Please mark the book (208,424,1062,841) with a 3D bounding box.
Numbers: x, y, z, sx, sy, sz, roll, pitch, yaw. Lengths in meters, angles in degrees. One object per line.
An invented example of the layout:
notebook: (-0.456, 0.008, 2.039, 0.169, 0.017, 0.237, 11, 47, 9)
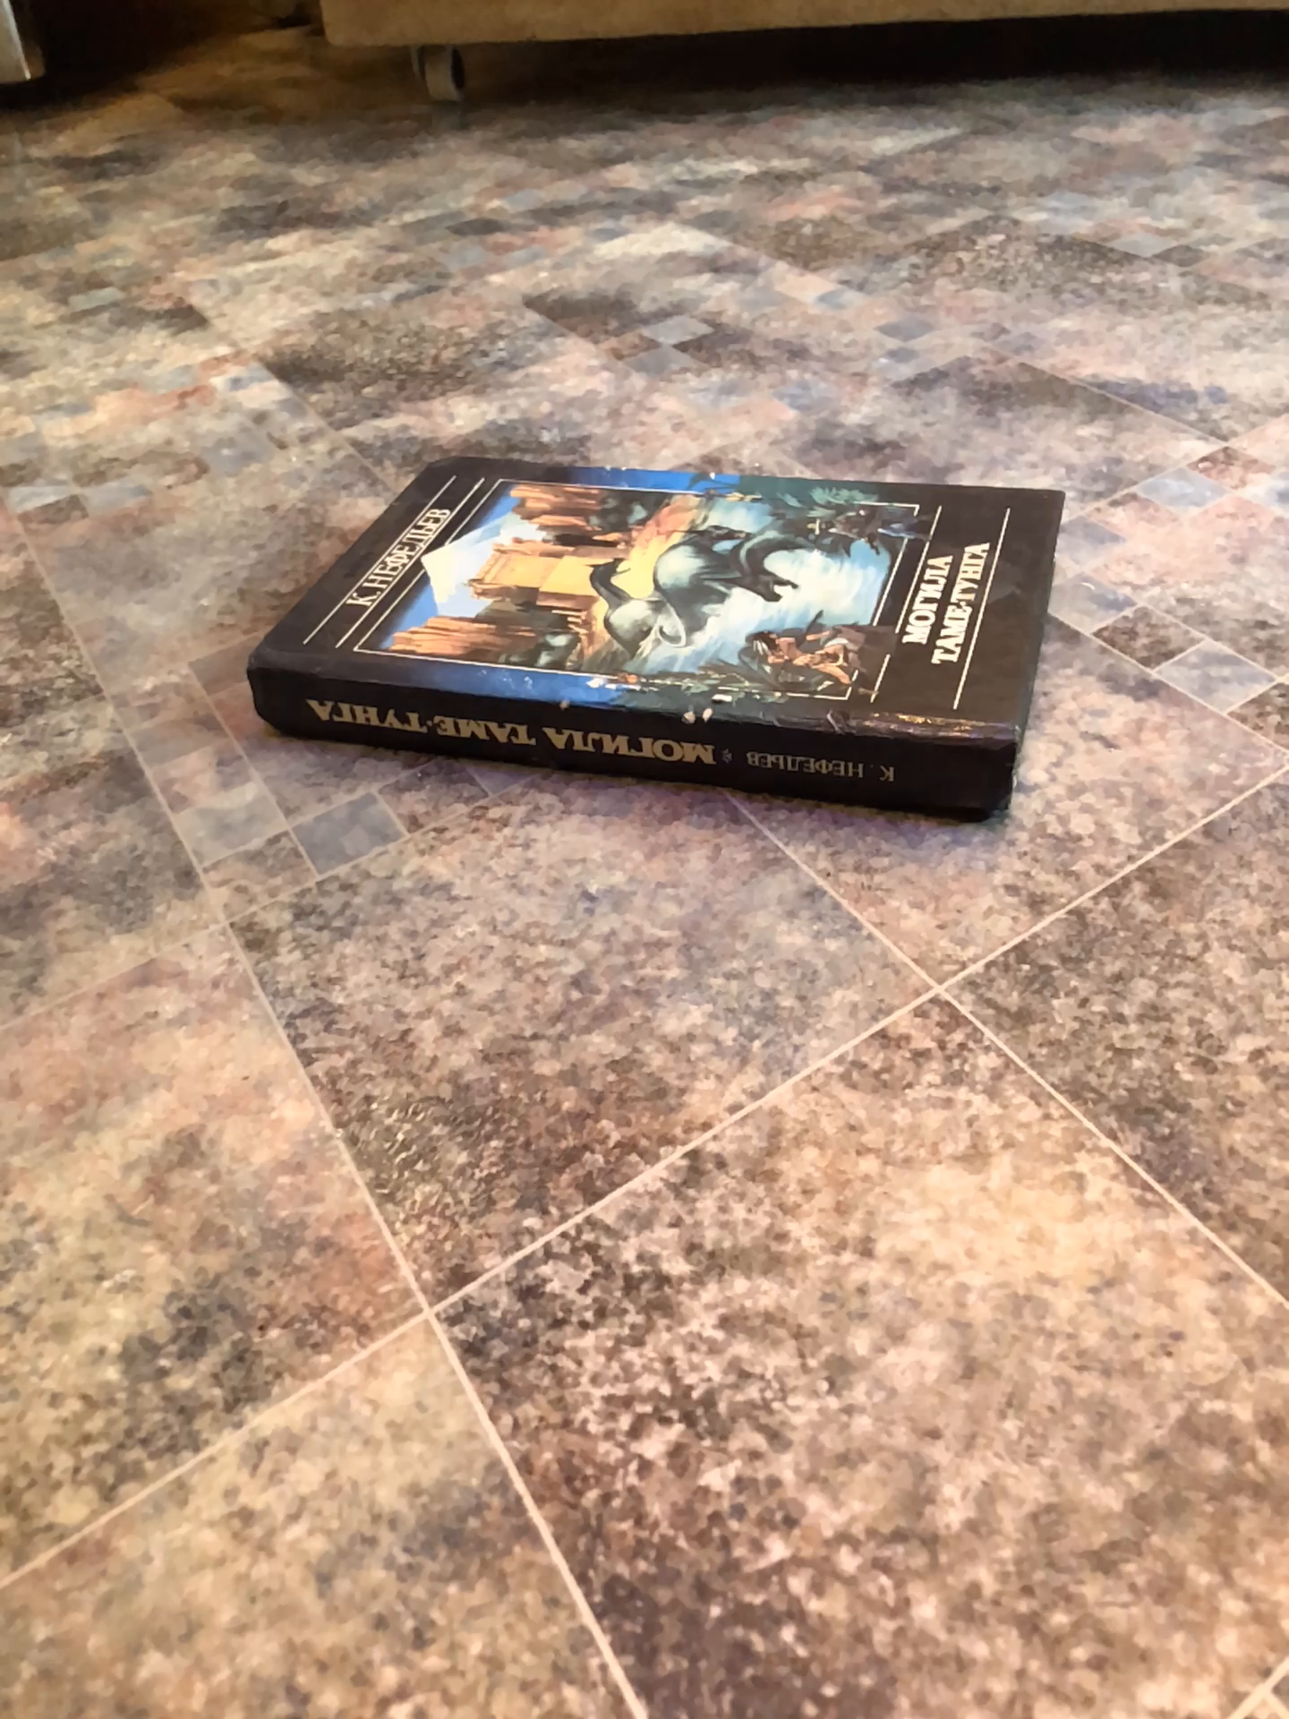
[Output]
book: (0.005, -0.074, 0.401, 0.202, 0.030, 0.139, 9, 41, 16)
